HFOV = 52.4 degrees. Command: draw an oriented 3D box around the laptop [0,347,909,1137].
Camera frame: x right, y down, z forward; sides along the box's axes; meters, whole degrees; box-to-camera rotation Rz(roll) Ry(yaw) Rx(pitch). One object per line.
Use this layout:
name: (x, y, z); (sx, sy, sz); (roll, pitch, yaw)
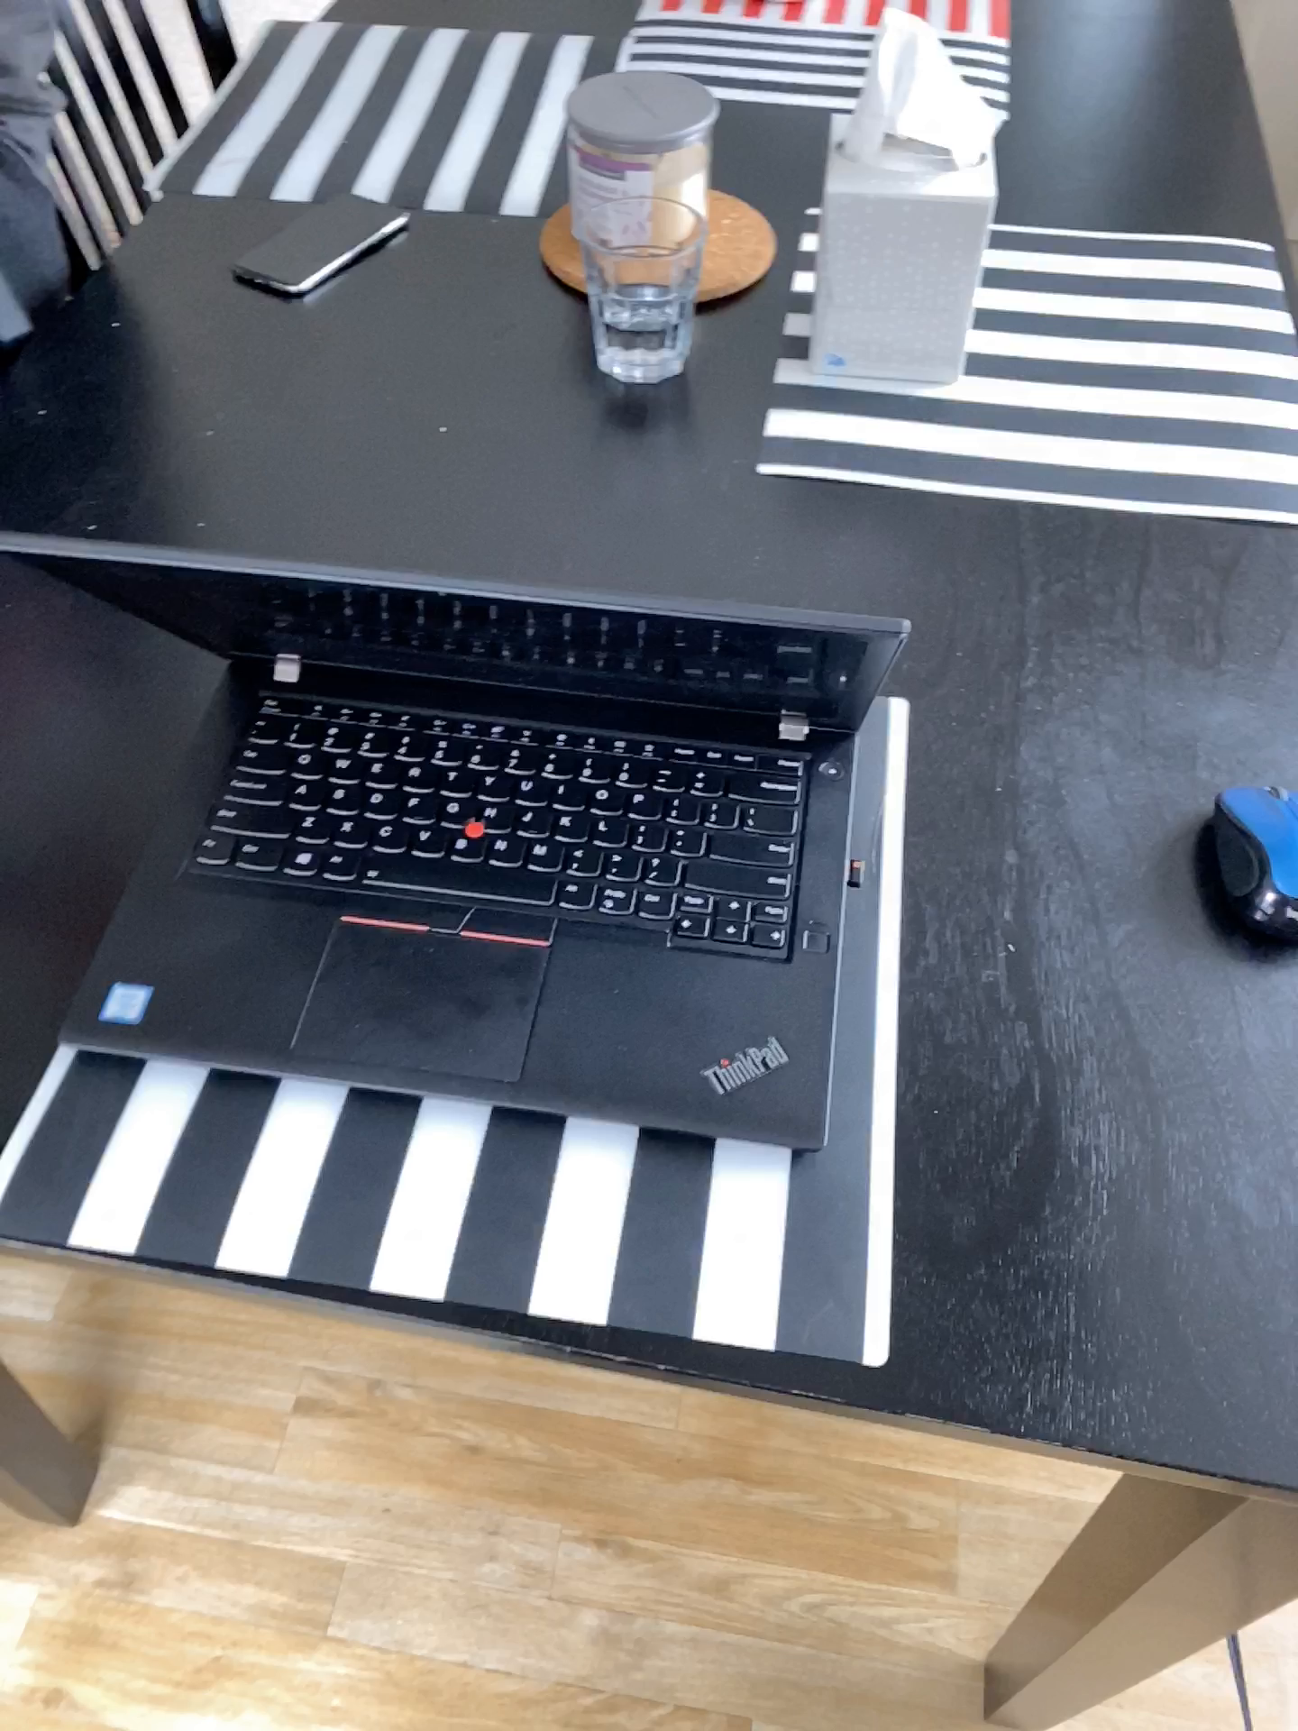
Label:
laptop: (-0.072, -0.054, 0.535); (0.320, 0.175, 0.221); (7, 52, 5)
